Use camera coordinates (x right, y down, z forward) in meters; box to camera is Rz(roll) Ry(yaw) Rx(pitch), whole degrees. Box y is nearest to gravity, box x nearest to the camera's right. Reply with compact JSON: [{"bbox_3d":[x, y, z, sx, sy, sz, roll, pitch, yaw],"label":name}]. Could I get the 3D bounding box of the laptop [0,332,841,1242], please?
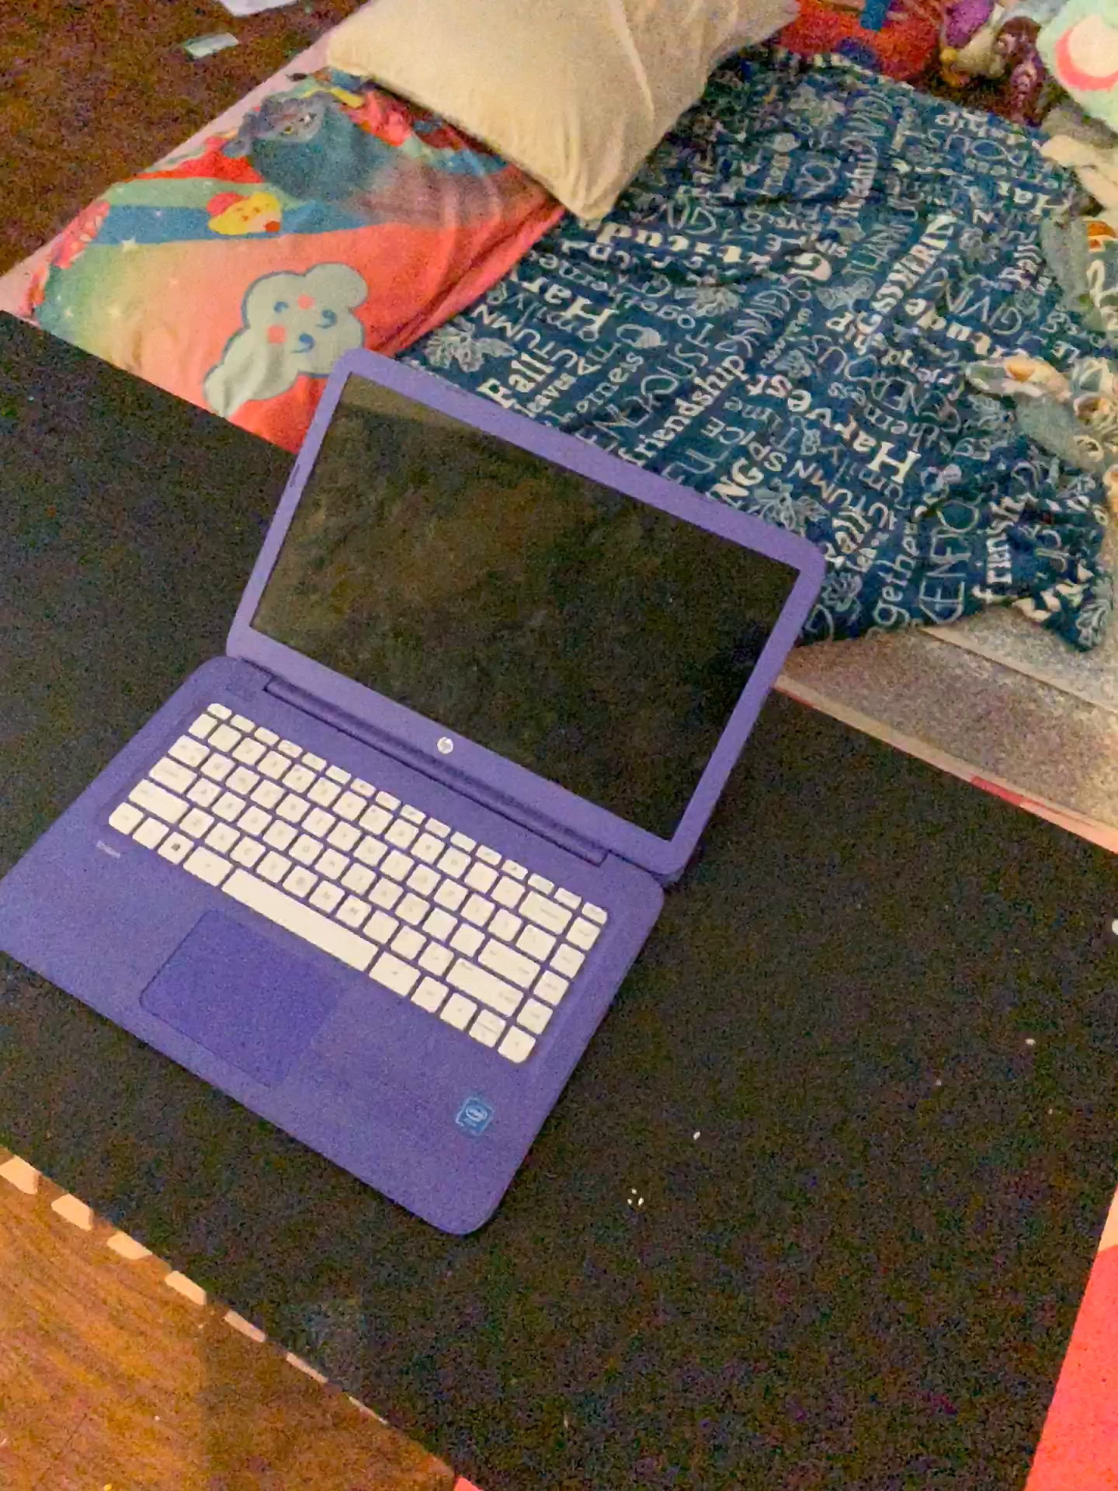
[{"bbox_3d":[-0.088,-0.008,0.651,0.340,0.132,0.398,27,61,14],"label":"laptop"}]
